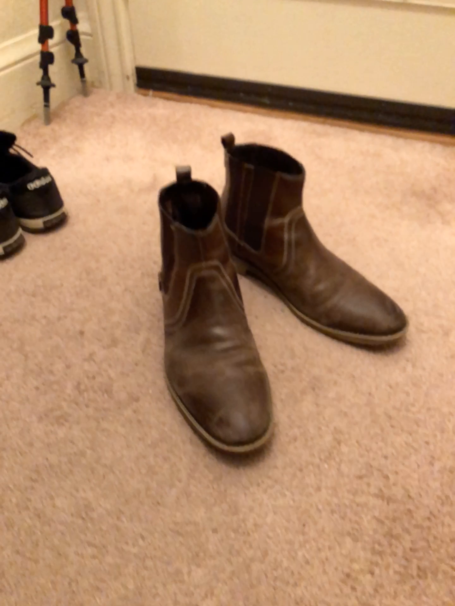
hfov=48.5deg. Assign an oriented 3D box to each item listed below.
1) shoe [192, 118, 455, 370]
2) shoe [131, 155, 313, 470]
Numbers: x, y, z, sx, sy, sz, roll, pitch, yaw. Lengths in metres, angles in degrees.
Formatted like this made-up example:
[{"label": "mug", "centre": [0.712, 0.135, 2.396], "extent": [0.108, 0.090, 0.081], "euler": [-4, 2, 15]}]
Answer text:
[{"label": "shoe", "centre": [0.099, -0.086, 0.617], "extent": [0.119, 0.158, 0.299], "euler": [-31, 51, -29]}, {"label": "shoe", "centre": [-0.023, -0.009, 0.534], "extent": [0.118, 0.158, 0.299], "euler": [-8, 44, -8]}]
